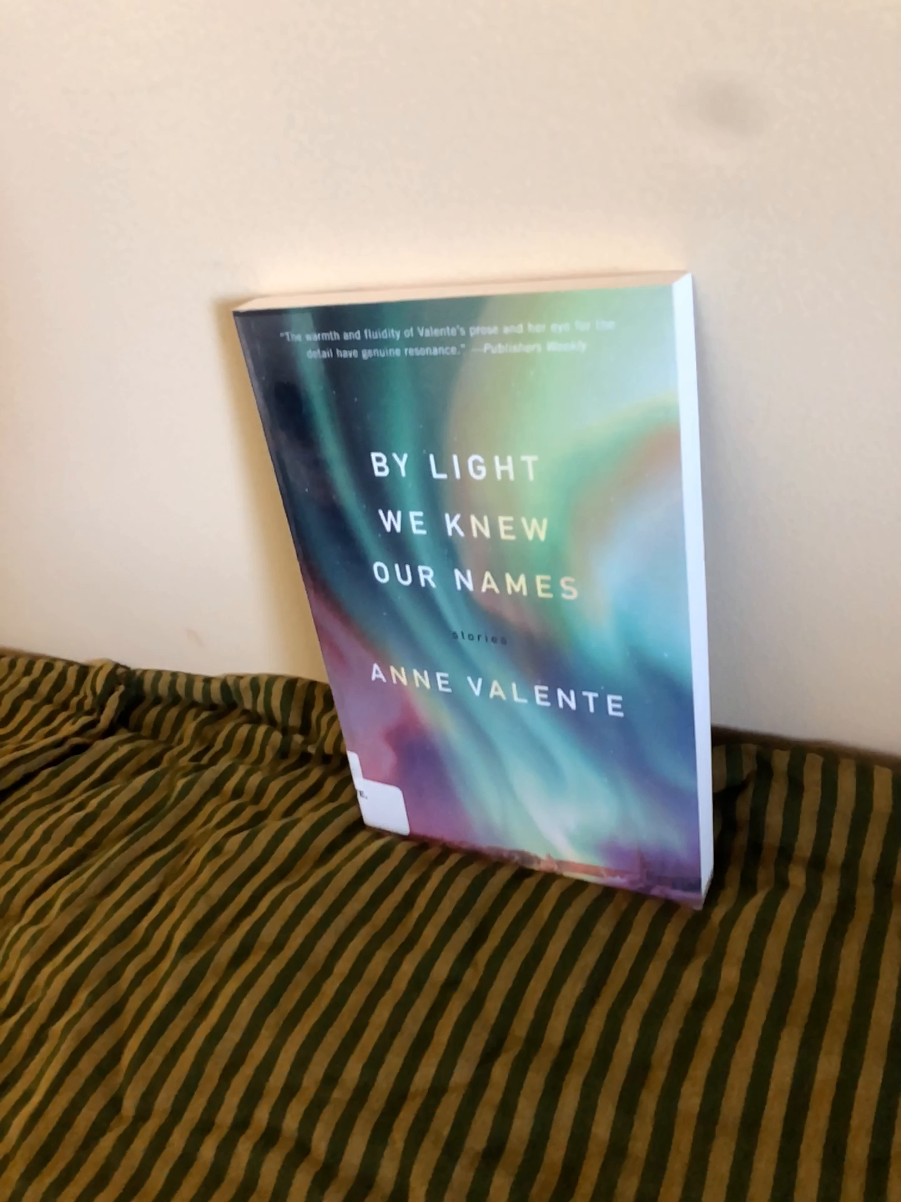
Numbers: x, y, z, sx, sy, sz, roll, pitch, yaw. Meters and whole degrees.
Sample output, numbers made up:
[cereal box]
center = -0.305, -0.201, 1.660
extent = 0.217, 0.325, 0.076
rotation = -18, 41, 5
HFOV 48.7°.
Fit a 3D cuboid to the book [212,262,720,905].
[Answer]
[book]
center = 0.015, 0.006, 0.335
extent = 0.142, 0.223, 0.020
rotation = 5, 36, 23
